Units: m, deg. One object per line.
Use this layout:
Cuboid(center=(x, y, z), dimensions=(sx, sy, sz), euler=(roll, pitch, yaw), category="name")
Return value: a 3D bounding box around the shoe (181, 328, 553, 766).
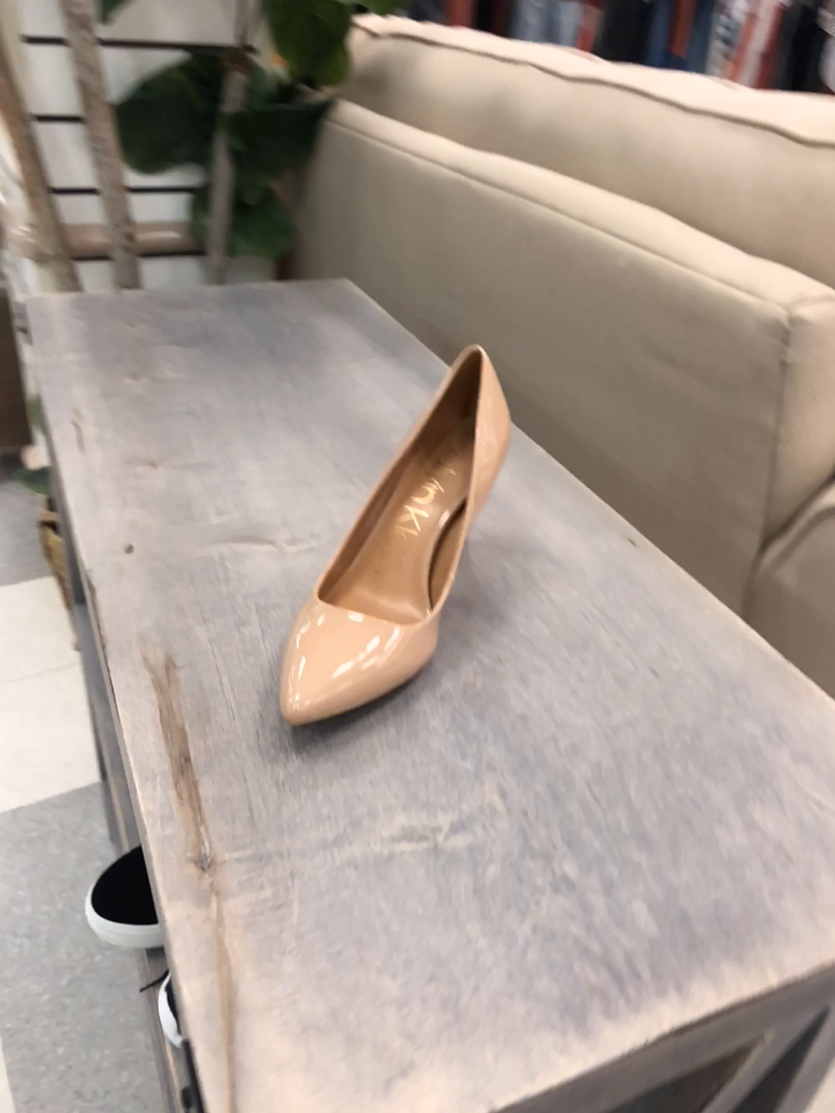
Cuboid(center=(-0.014, -0.027, 0.543), dimensions=(0.096, 0.129, 0.269), euler=(16, 34, 18), category="shoe")
